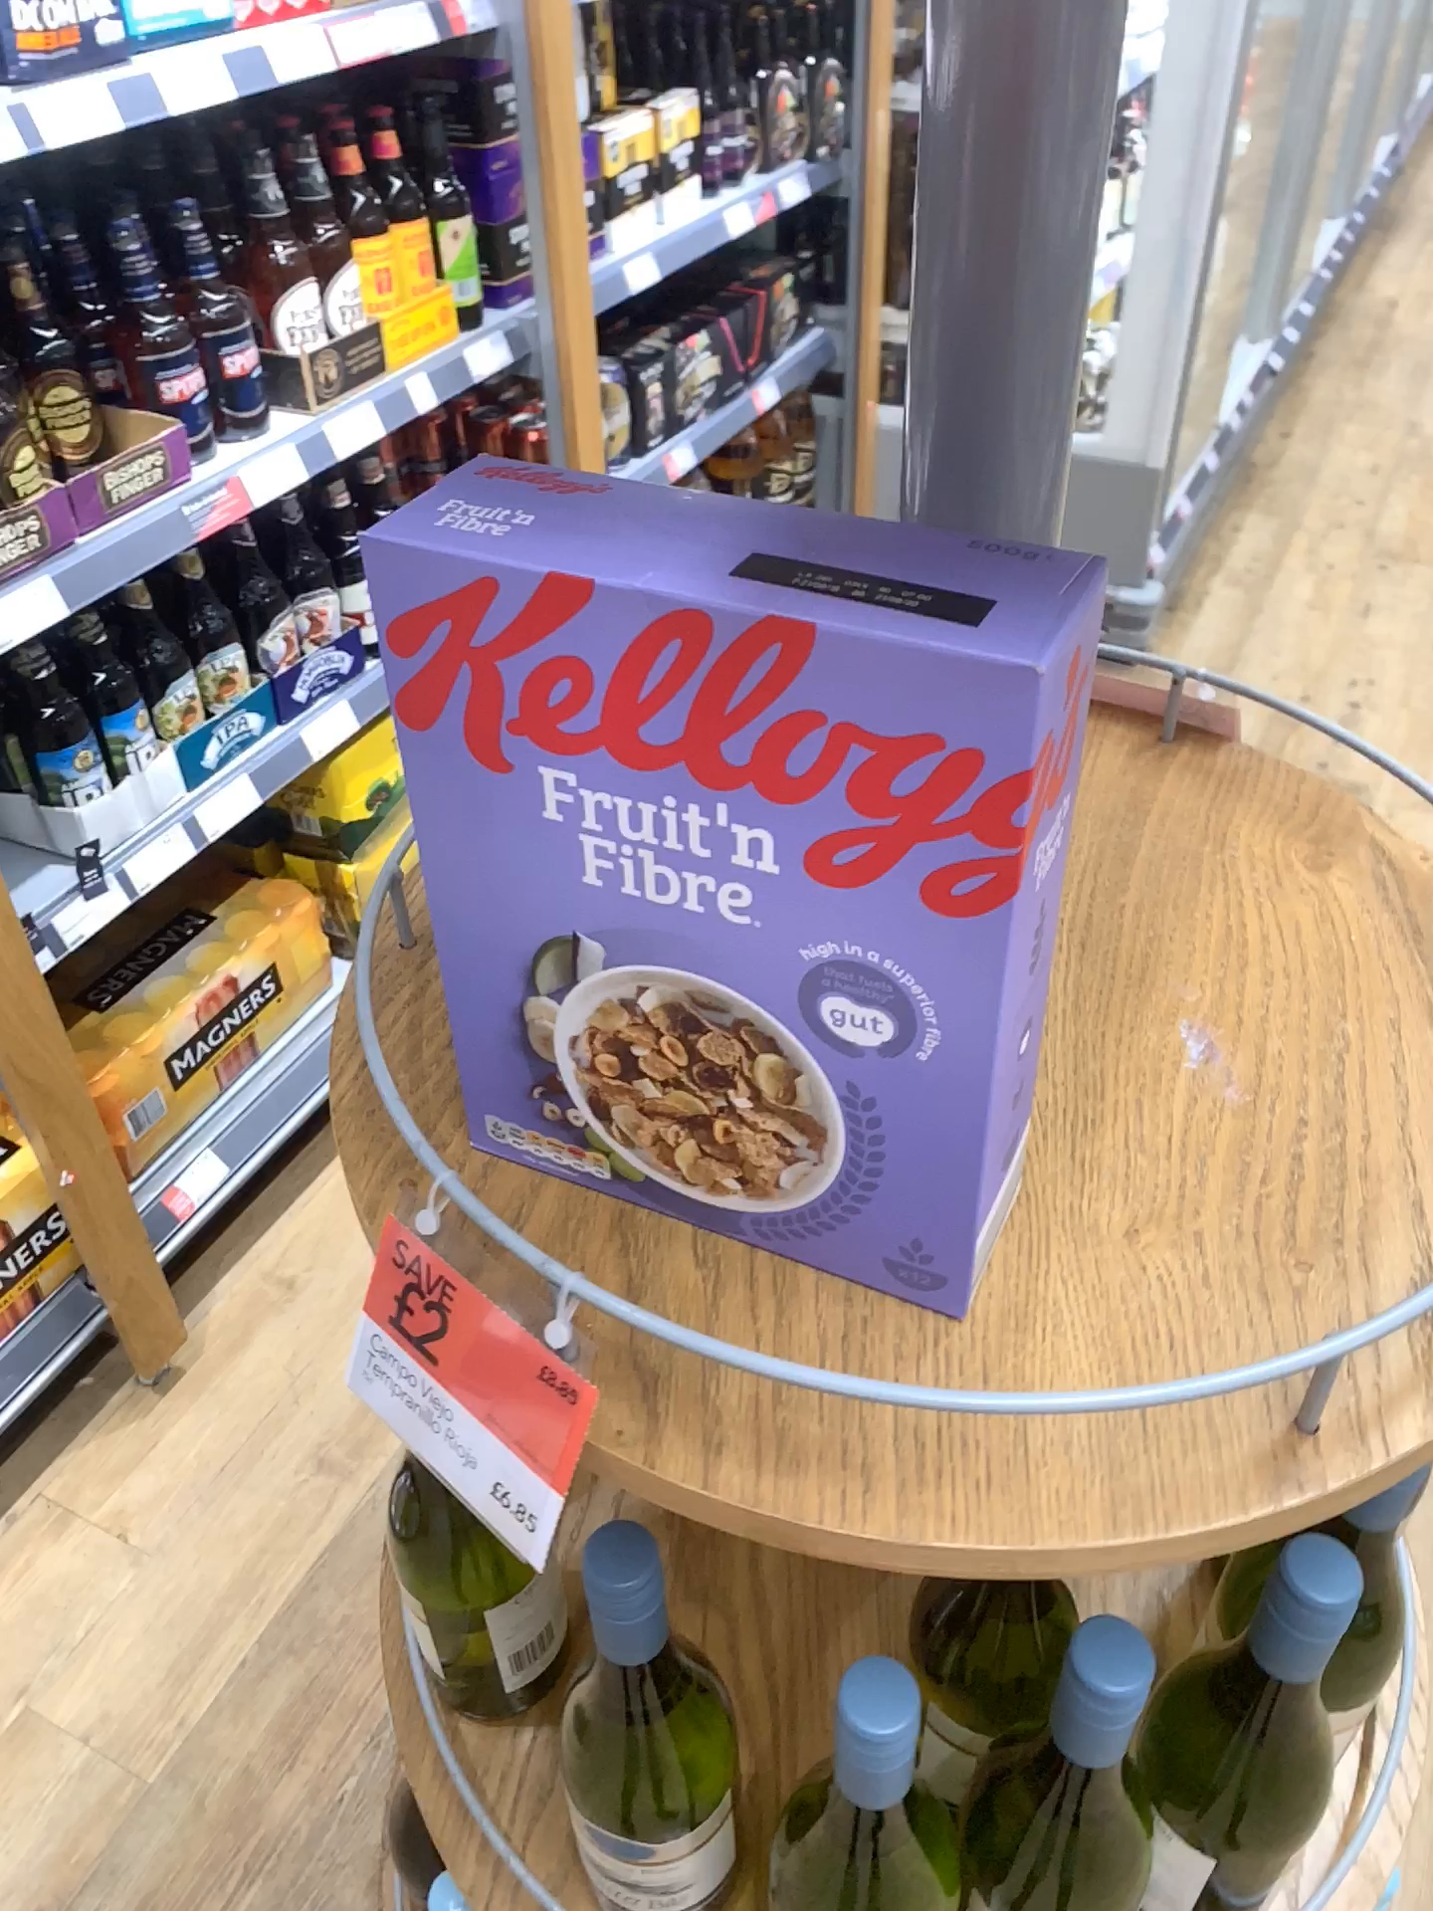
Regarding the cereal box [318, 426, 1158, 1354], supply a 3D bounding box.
[{"bbox_3d":[0.004,-0.015,0.442,0.200,0.238,0.071,16,42,20],"label":"cereal box"}]
